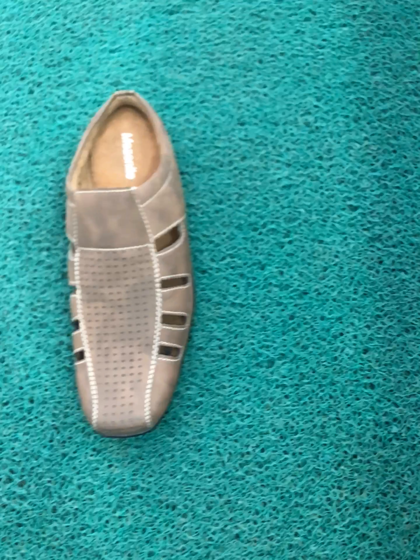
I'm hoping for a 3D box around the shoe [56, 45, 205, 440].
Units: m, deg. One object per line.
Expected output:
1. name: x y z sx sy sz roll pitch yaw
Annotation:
1. shoe: -0.062 -0.034 0.366 0.090 0.070 0.290 -5 74 1
